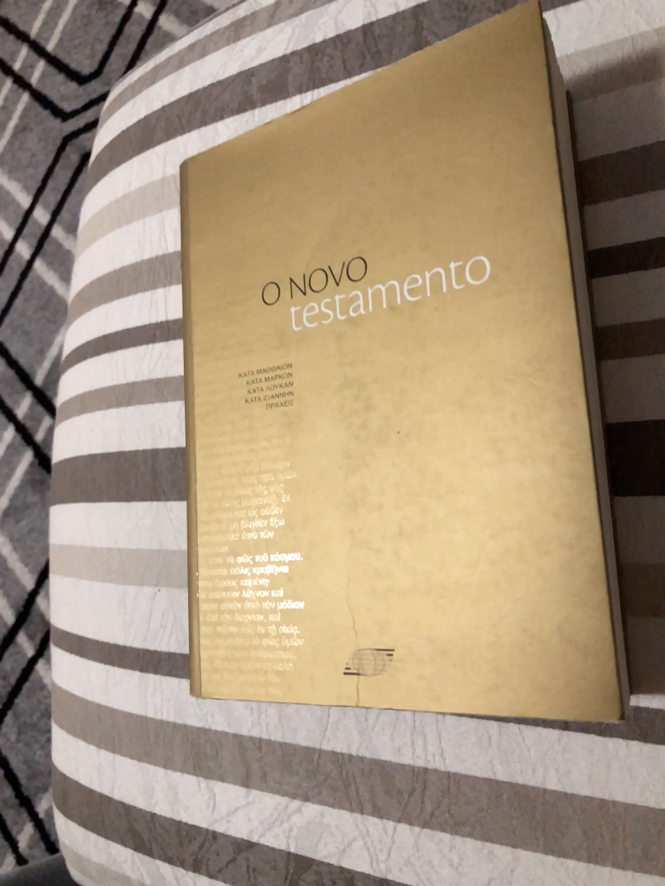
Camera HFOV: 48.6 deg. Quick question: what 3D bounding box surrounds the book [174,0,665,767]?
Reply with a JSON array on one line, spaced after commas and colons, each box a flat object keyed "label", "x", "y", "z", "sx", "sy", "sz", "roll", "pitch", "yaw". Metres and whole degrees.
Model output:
[{"label": "book", "x": 0.022, "y": -0.022, "z": 0.261, "sx": 0.160, "sy": 0.050, "sz": 0.230, "roll": -8, "pitch": 79, "yaw": 29}]
